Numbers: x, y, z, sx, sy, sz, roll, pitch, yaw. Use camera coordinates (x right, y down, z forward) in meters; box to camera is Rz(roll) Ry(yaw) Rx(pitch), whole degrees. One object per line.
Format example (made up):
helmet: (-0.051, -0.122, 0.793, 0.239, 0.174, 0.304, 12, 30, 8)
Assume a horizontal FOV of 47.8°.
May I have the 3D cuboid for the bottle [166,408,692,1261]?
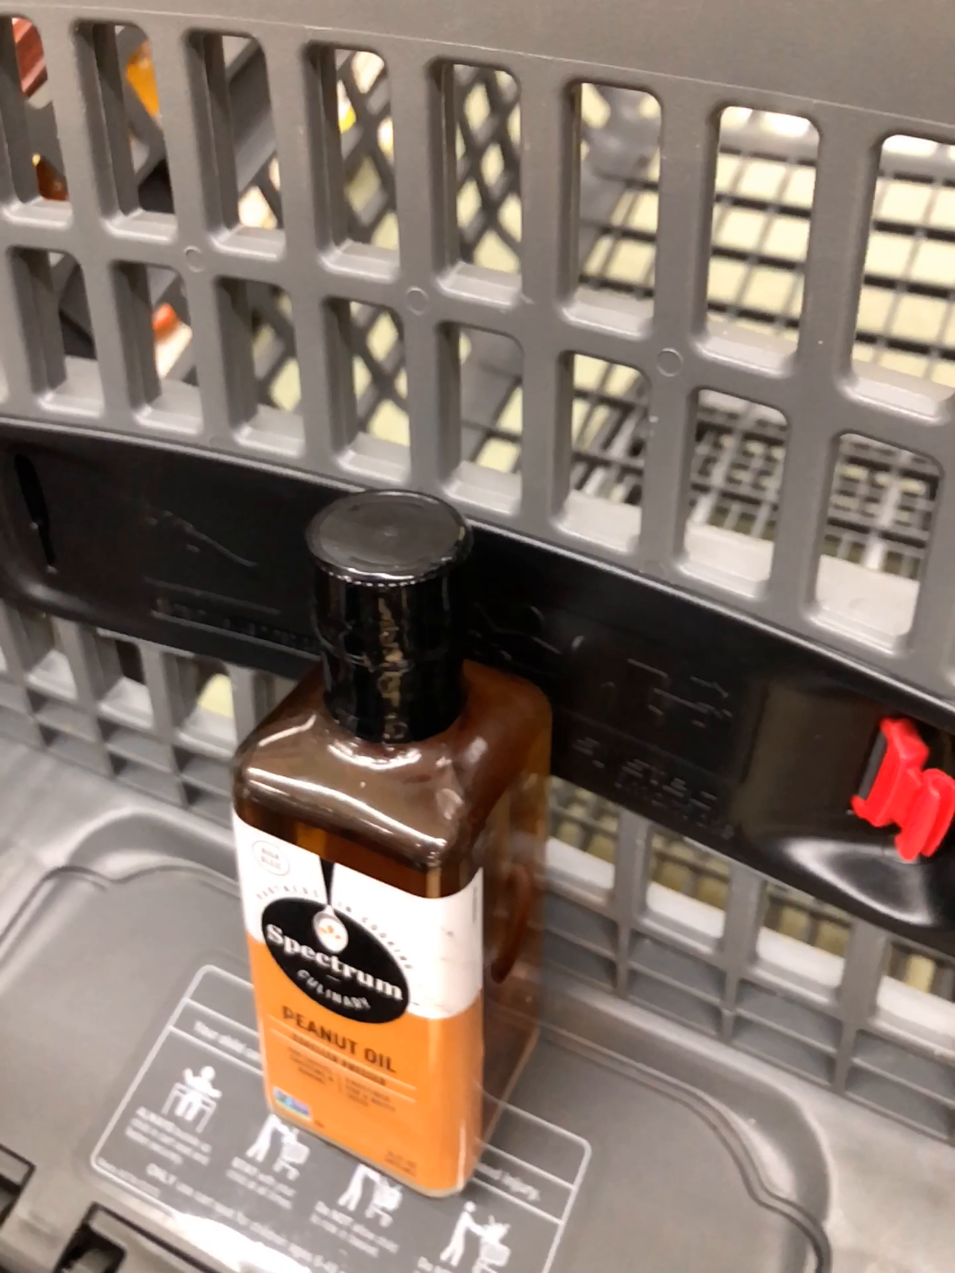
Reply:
bottle: (-0.008, 0.055, 0.253, 0.070, 0.190, 0.070, 1, 38, -1)
